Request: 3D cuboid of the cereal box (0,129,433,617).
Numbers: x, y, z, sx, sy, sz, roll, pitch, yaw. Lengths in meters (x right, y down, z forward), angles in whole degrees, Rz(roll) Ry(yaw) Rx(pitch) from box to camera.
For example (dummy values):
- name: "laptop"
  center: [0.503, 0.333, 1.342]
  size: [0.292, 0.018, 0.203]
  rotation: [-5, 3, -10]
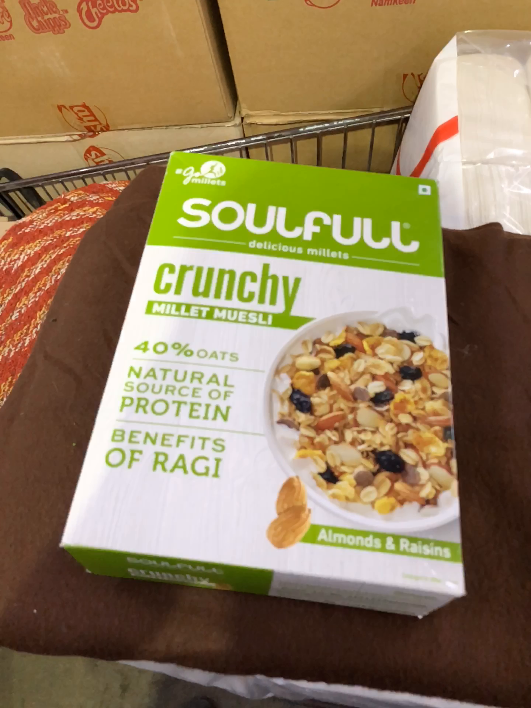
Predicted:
- name: "cereal box"
  center: [-0.007, -0.009, 0.300]
  size: [0.160, 0.060, 0.241]
  rotation: [6, 57, 3]
